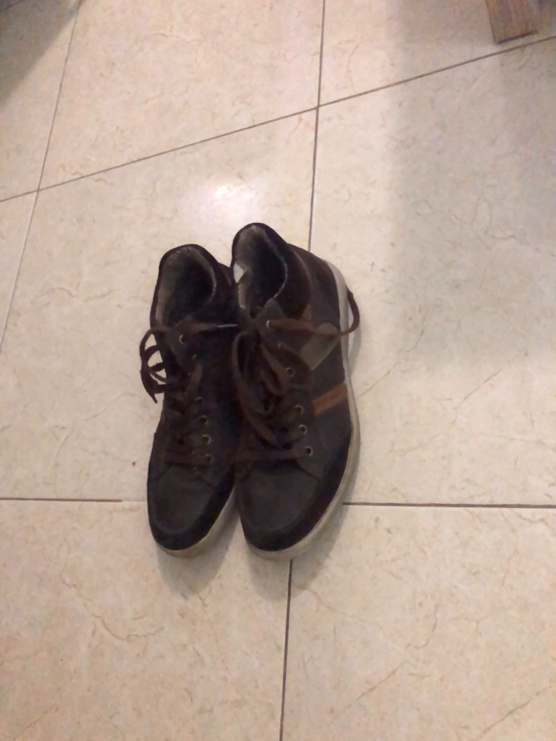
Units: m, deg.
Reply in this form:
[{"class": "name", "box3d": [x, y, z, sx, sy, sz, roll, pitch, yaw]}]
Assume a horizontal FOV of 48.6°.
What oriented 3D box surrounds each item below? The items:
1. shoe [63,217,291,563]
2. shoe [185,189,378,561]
[{"class": "shoe", "box3d": [-0.087, 0.019, 0.596, 0.120, 0.110, 0.300, 0, 71, 28]}, {"class": "shoe", "box3d": [0.008, 0.009, 0.551, 0.120, 0.110, 0.300, -9, 67, 25]}]
